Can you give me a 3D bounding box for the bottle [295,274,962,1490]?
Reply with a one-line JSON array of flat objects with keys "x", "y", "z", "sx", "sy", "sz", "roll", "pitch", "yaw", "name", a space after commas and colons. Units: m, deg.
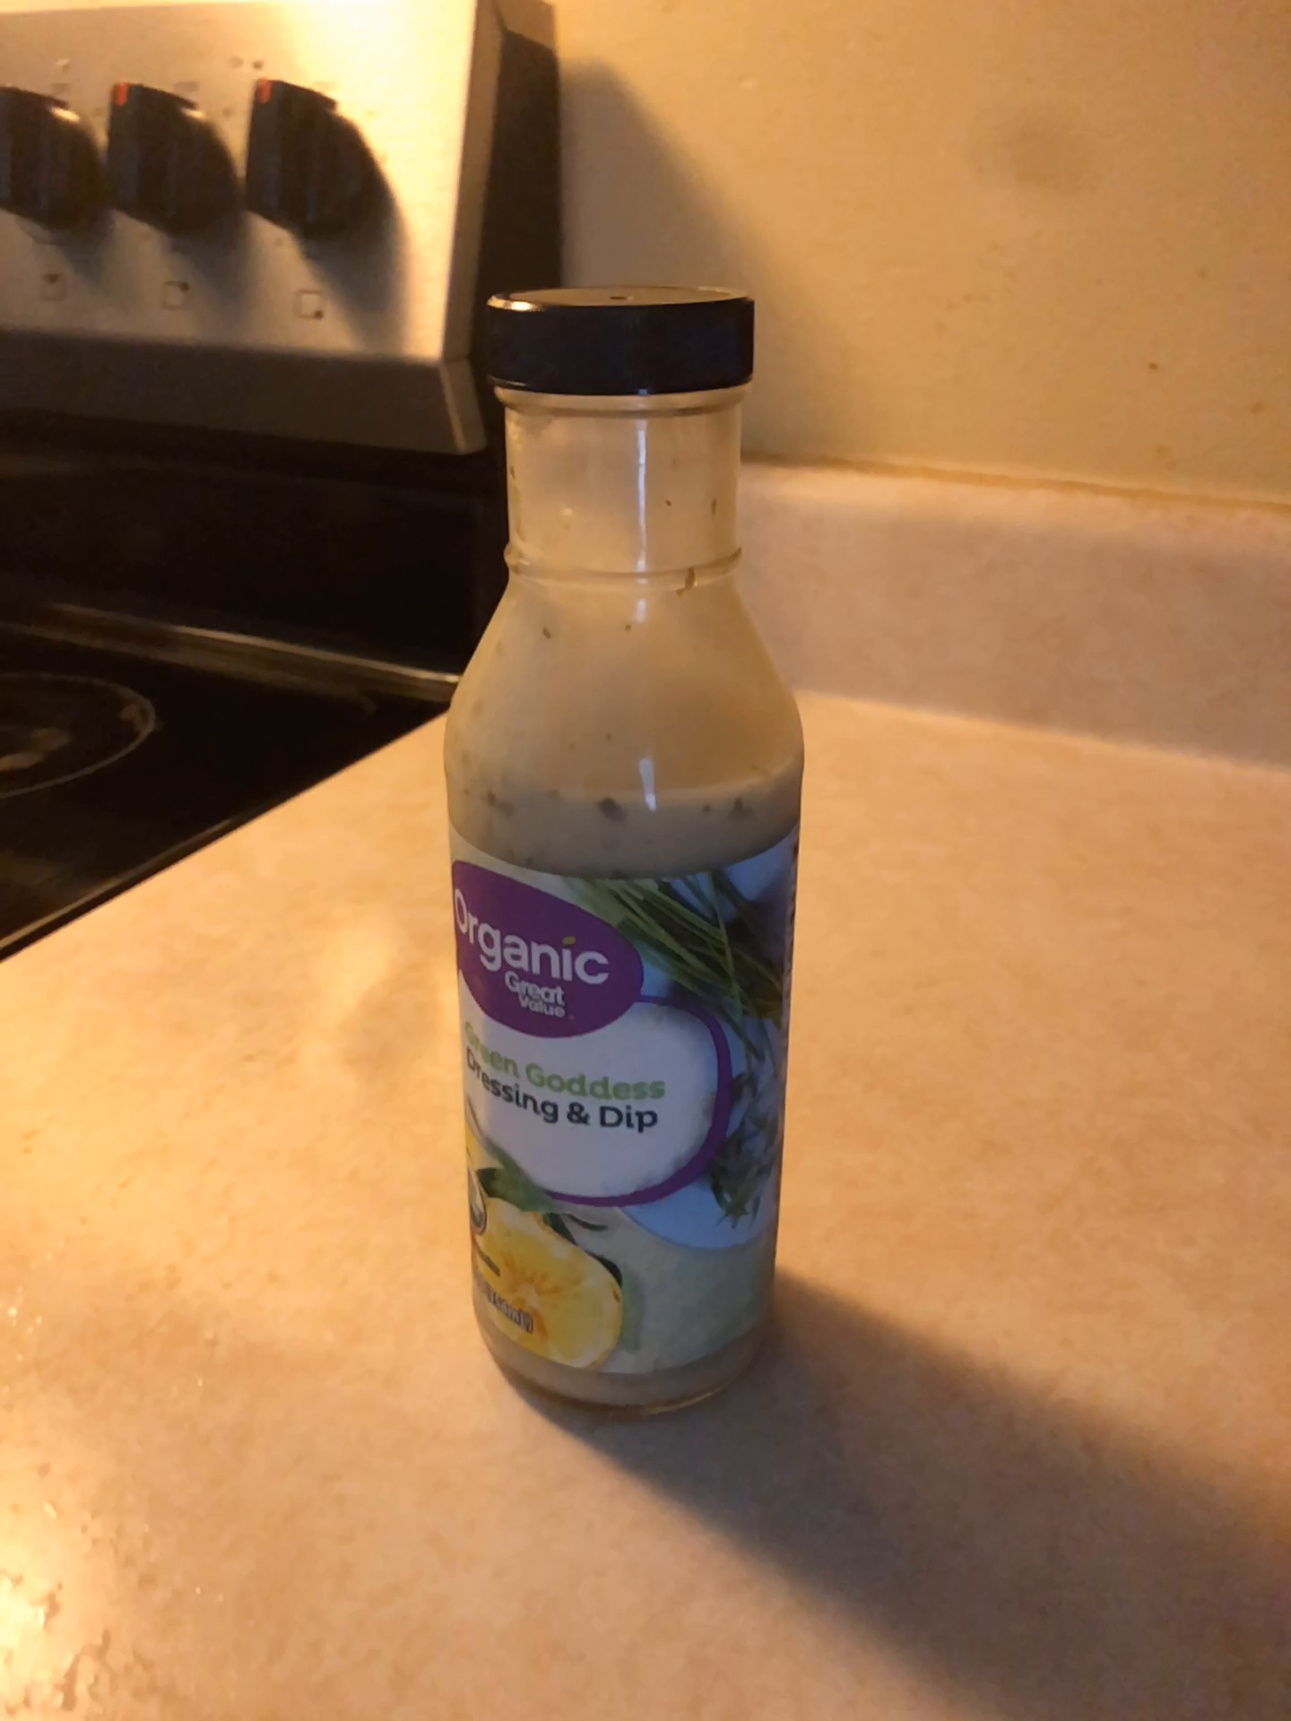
[{"x": -0.002, "y": 0.002, "z": 0.254, "sx": 0.070, "sy": 0.189, "sz": 0.070, "roll": 0, "pitch": 25, "yaw": 0, "name": "bottle"}]
